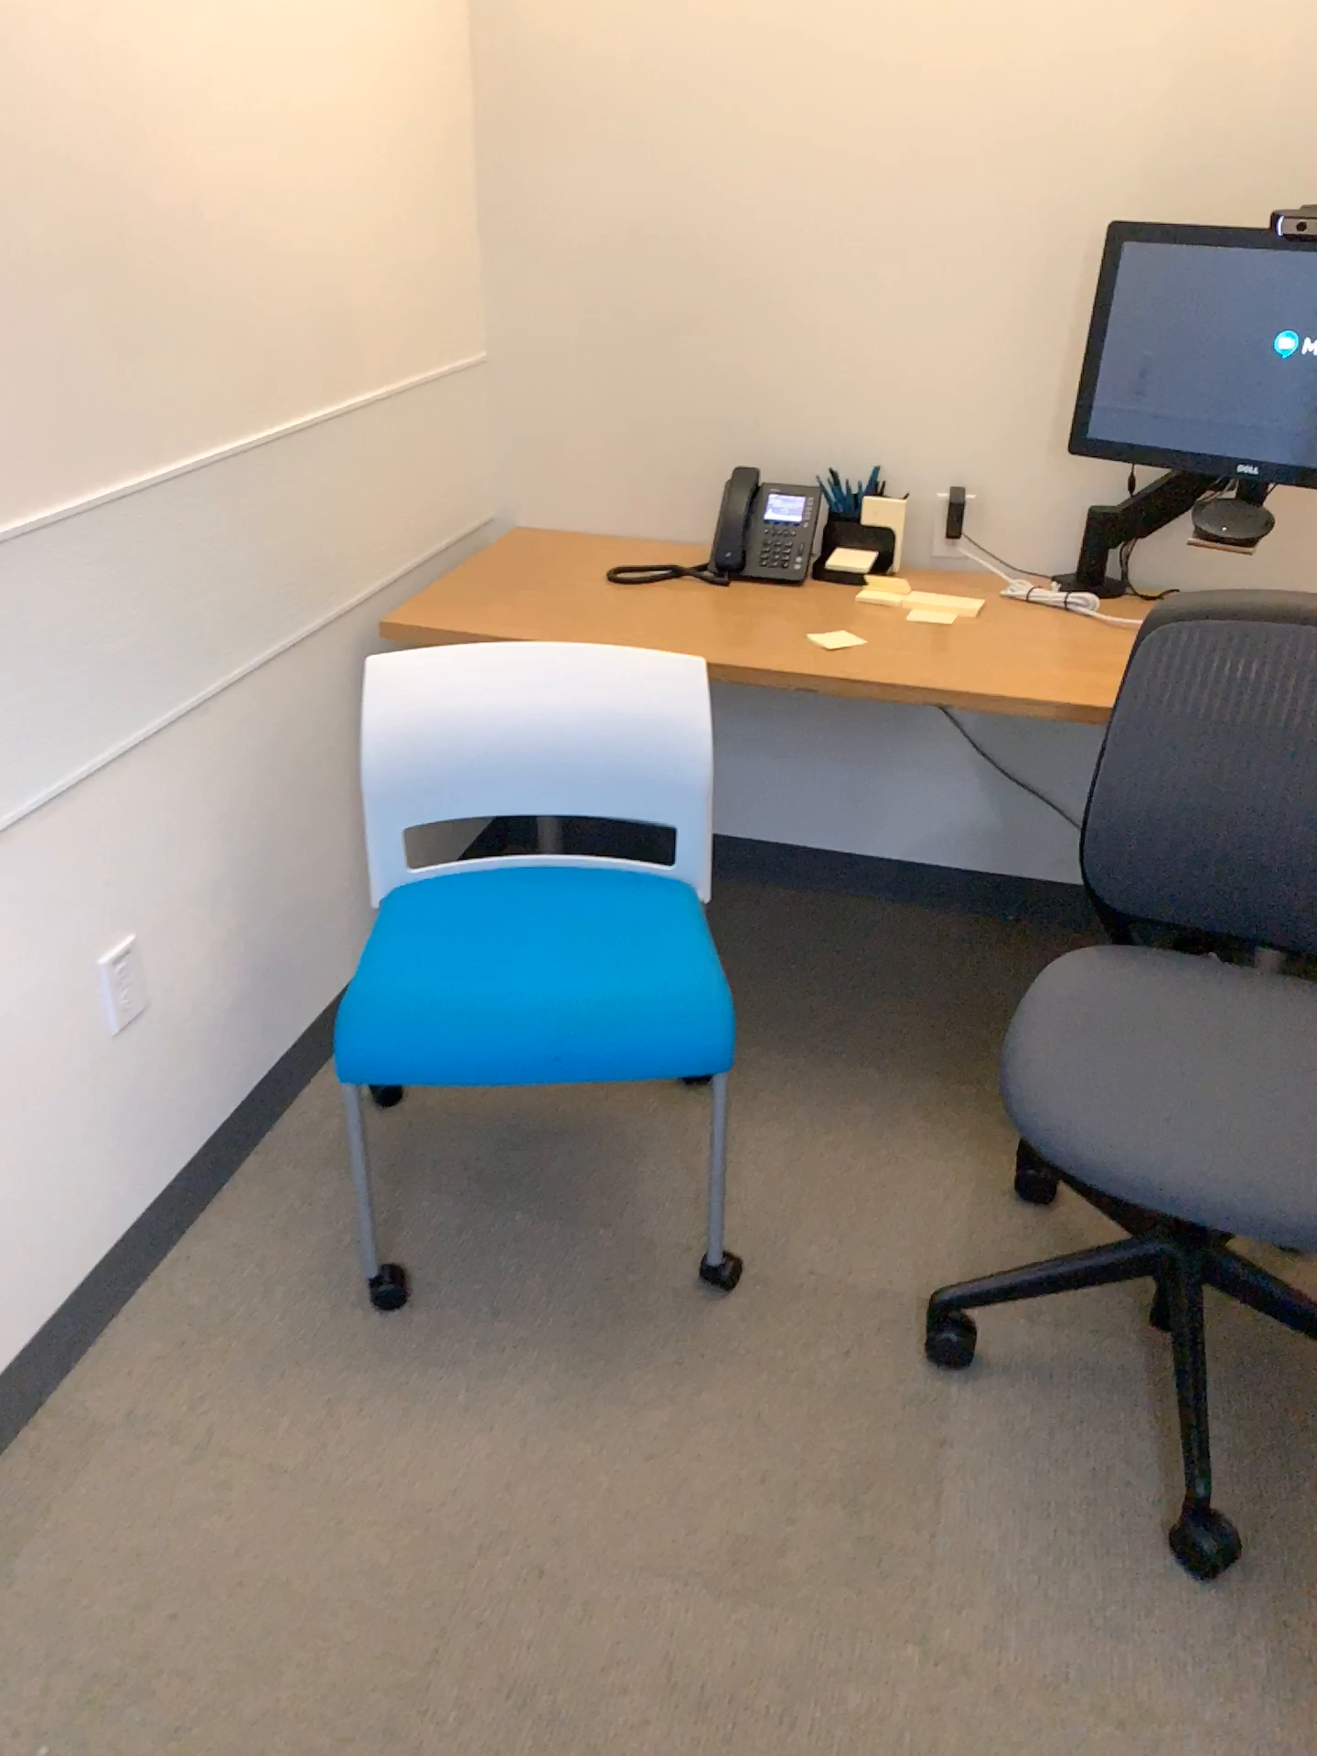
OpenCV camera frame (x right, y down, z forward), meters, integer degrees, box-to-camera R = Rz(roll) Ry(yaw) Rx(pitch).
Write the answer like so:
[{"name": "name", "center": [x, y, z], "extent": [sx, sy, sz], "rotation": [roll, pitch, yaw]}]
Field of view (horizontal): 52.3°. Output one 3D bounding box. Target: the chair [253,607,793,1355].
[{"name": "chair", "center": [-0.155, 0.086, 1.829], "extent": [0.530, 0.686, 0.794], "rotation": [0, 28, -3]}]

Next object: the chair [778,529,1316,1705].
[{"name": "chair", "center": [0.725, 0.158, 1.691], "extent": [0.752, 0.885, 0.973], "rotation": [16, 32, 26]}]
